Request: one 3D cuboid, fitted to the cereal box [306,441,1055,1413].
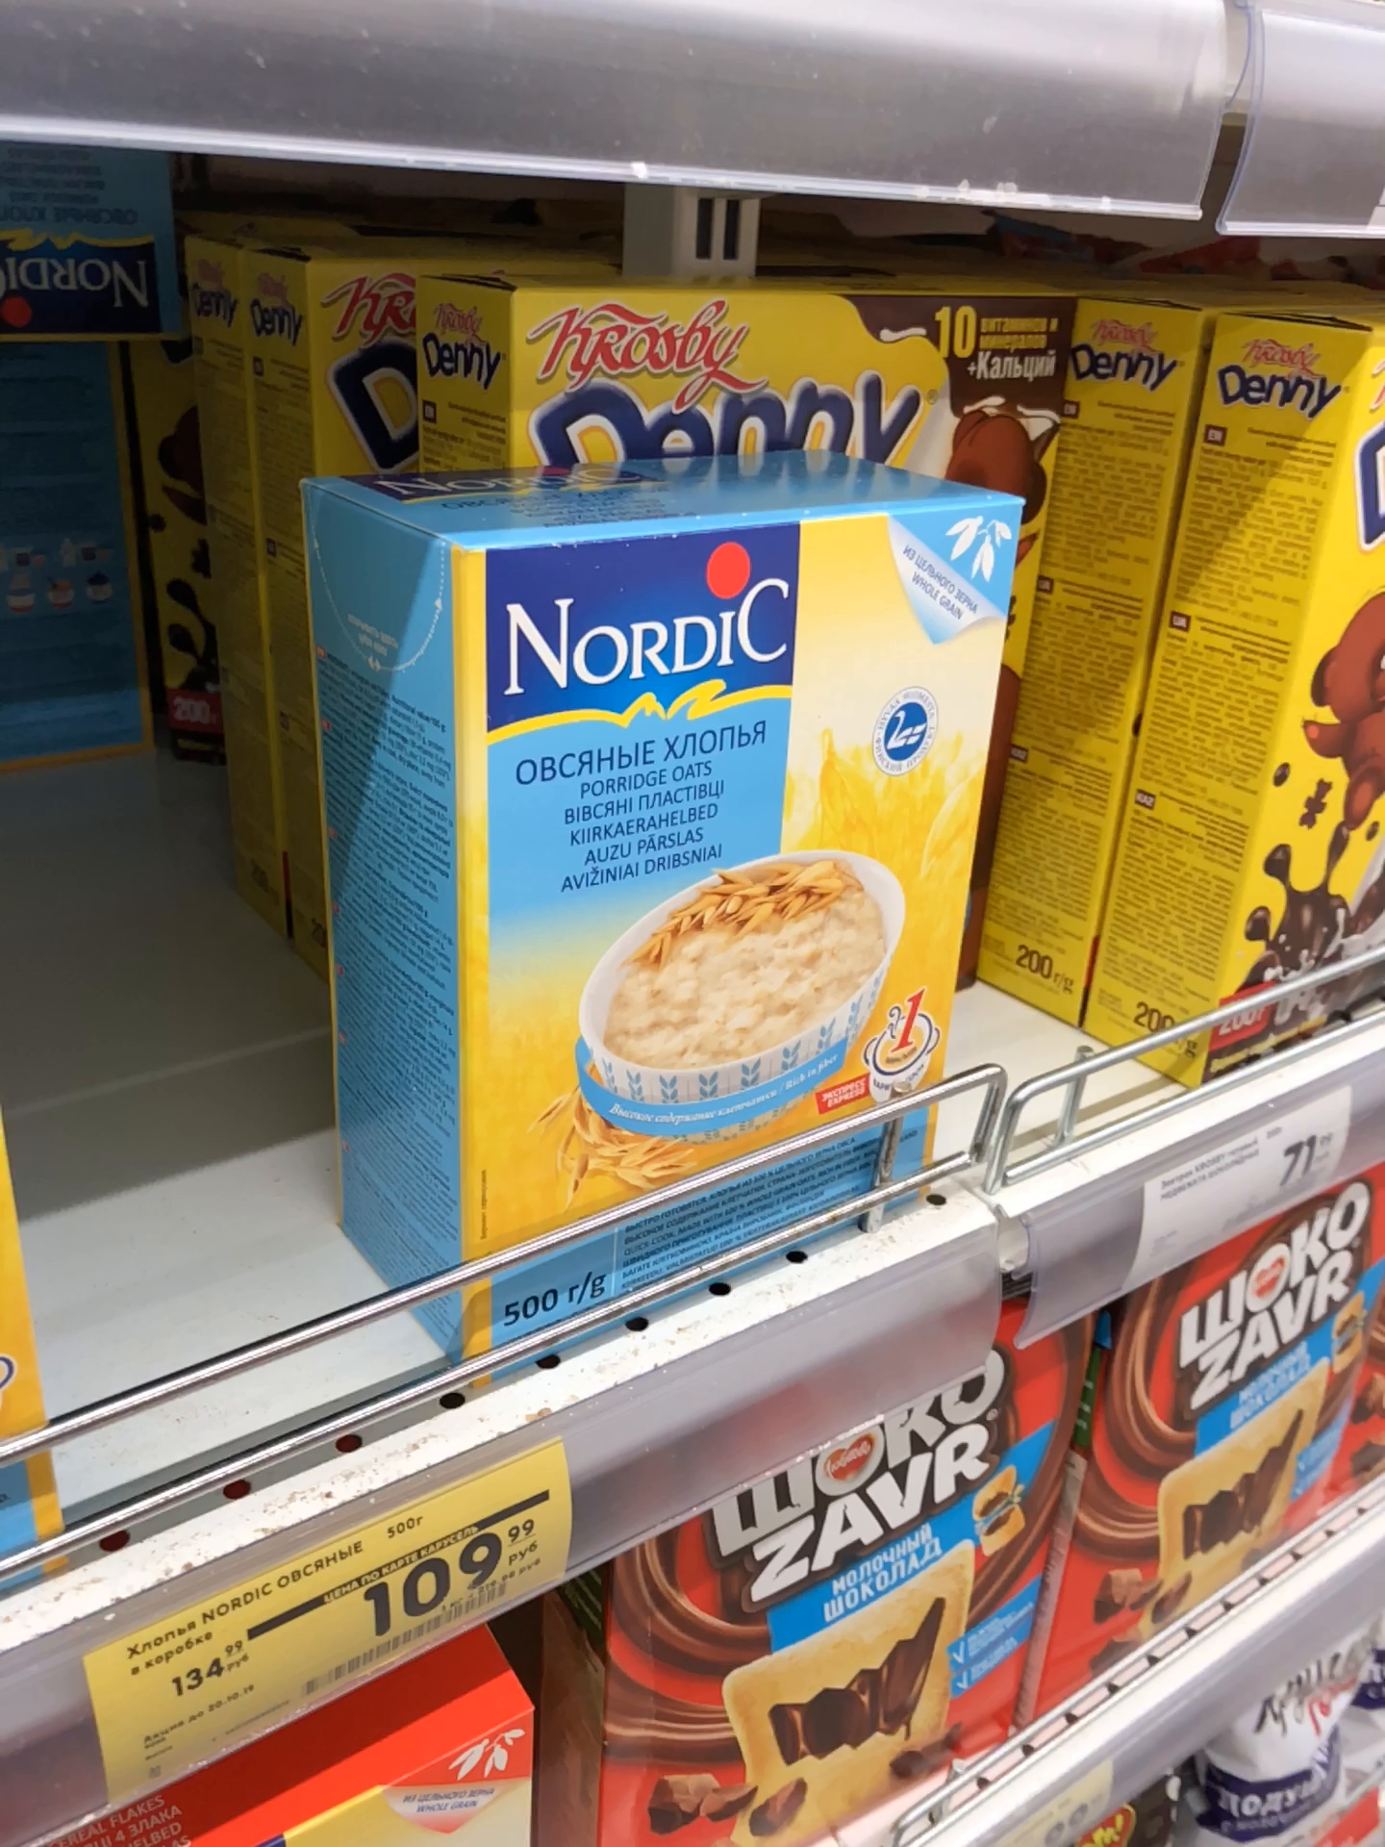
[{"bbox_3d":[-0.004,-0.007,0.377,0.150,0.199,0.070,-14,30,-33],"label":"cereal box"}]
